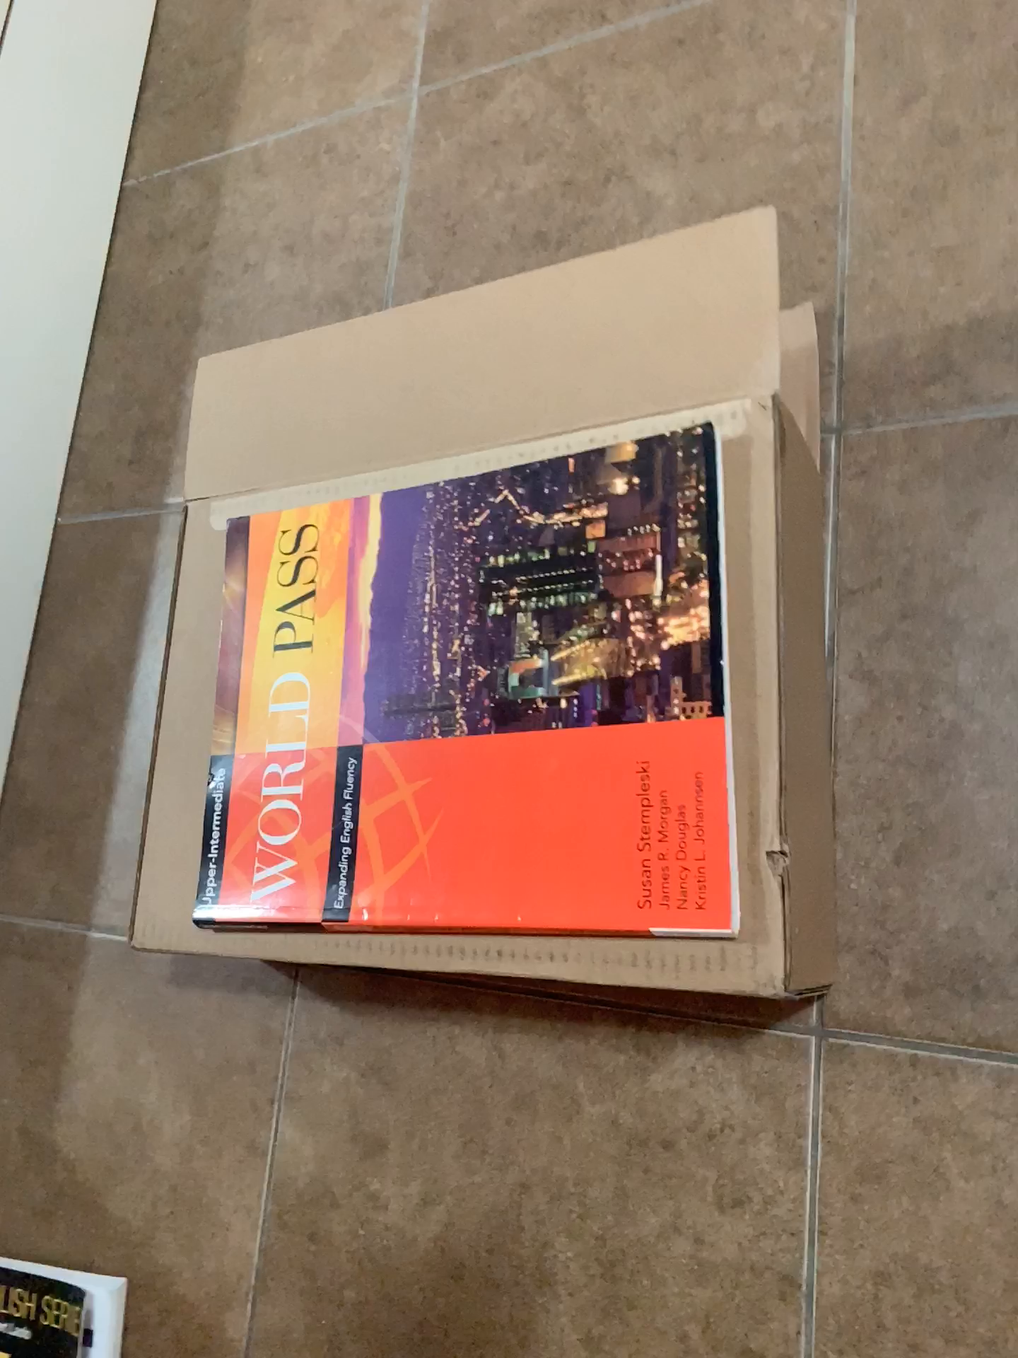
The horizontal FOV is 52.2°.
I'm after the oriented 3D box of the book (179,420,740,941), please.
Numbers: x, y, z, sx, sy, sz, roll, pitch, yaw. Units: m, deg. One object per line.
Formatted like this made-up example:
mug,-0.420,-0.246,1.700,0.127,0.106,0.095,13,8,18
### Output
book,-0.033,0.008,0.478,0.271,0.018,0.211,-6,74,27
